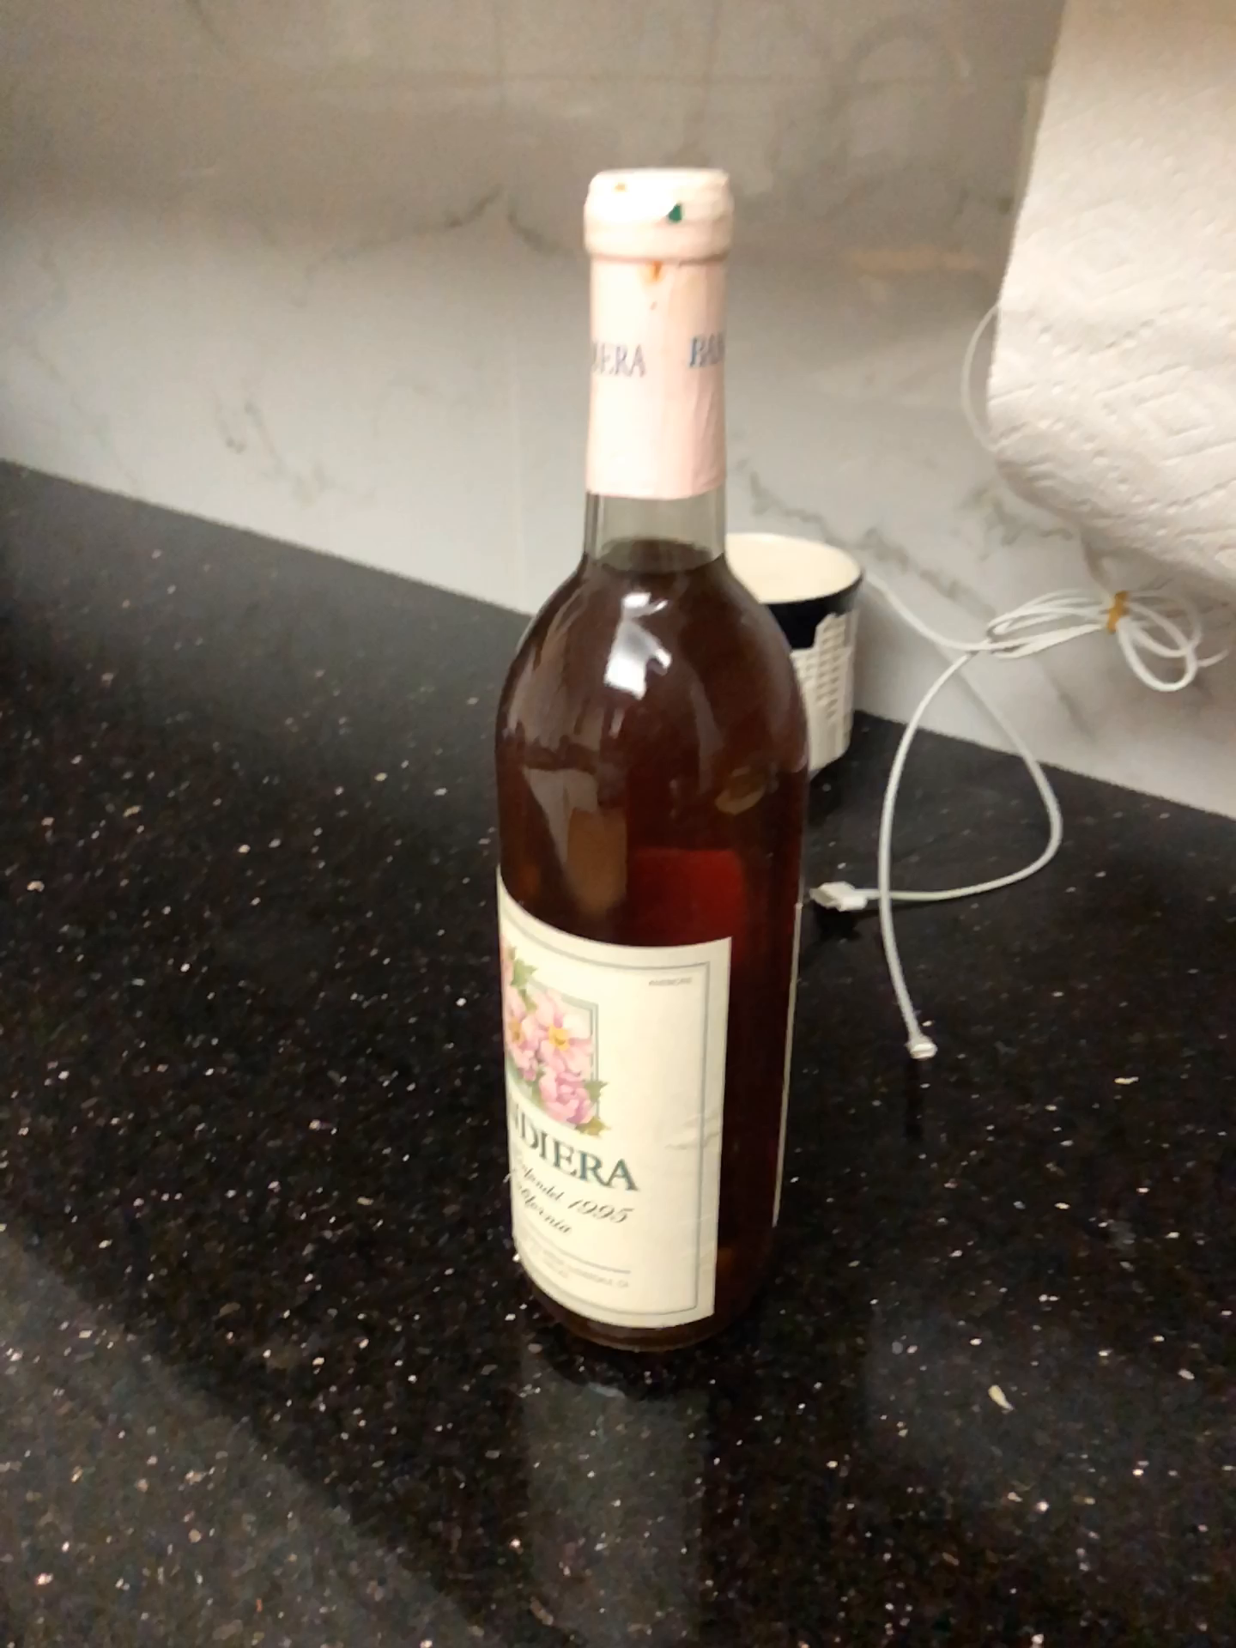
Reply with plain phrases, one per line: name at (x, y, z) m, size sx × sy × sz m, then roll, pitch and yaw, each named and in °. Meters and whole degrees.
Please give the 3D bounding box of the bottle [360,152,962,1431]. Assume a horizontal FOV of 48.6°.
bottle at (0.006, 0.001, 0.320) m, size 0.080 × 0.278 × 0.080 m, roll 0°, pitch 29°, yaw 0°
